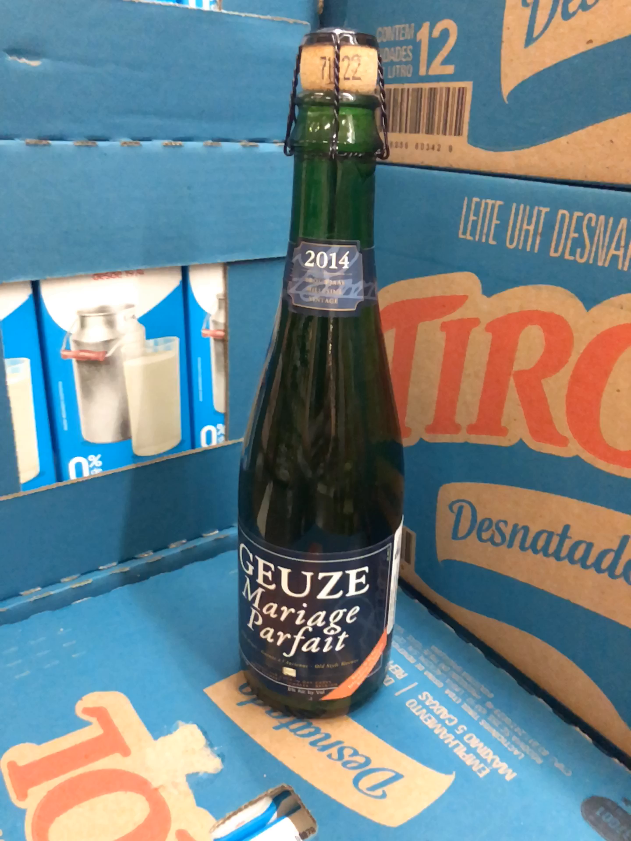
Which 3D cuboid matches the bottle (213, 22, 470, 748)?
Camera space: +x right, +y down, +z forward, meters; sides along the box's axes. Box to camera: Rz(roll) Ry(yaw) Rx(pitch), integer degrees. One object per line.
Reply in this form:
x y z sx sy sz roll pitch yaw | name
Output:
0.005 -0.002 0.271 0.070 0.258 0.060 9 23 12 | bottle
